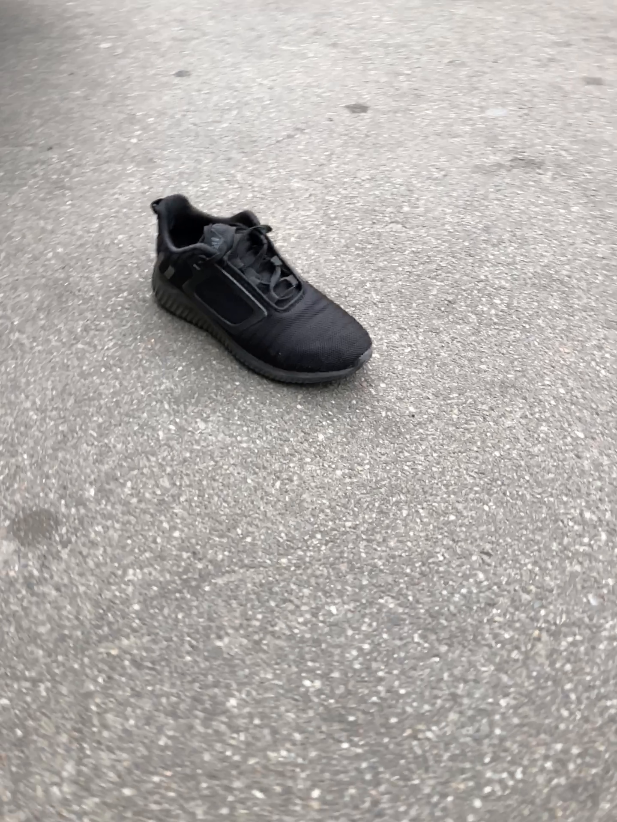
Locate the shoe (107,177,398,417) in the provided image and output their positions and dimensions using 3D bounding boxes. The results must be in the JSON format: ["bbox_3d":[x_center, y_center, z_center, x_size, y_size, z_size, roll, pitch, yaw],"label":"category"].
[{"bbox_3d":[-0.060,-0.123,0.676,0.281,0.109,0.100,30,53,27],"label":"shoe"}]
